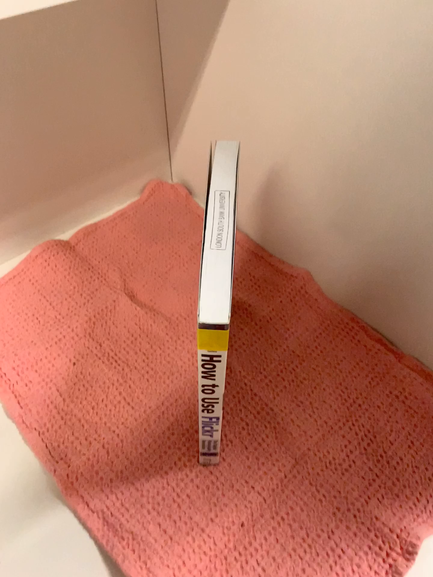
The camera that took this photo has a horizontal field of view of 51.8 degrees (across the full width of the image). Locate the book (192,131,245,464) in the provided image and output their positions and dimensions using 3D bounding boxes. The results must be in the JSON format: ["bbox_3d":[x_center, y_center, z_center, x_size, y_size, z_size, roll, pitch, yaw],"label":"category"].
[{"bbox_3d":[0.003,0.017,0.394,0.025,0.228,0.192,3,50,2],"label":"book"}]
